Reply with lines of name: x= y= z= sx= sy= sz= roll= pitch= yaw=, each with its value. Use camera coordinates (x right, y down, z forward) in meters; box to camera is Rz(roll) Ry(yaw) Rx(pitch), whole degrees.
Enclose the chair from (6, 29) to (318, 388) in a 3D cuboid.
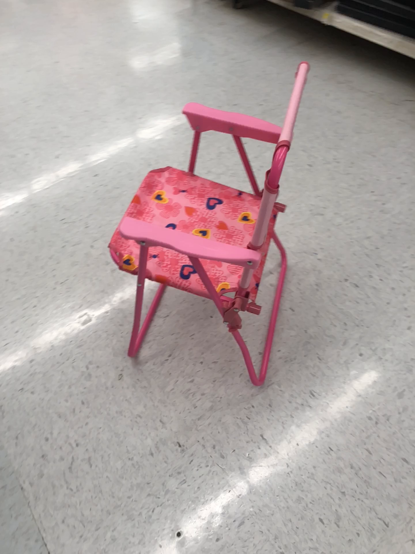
chair: x=-0.021 y=-0.111 z=0.830 sx=0.340 sy=0.488 sz=0.361 roll=10 pitch=52 yaw=14
